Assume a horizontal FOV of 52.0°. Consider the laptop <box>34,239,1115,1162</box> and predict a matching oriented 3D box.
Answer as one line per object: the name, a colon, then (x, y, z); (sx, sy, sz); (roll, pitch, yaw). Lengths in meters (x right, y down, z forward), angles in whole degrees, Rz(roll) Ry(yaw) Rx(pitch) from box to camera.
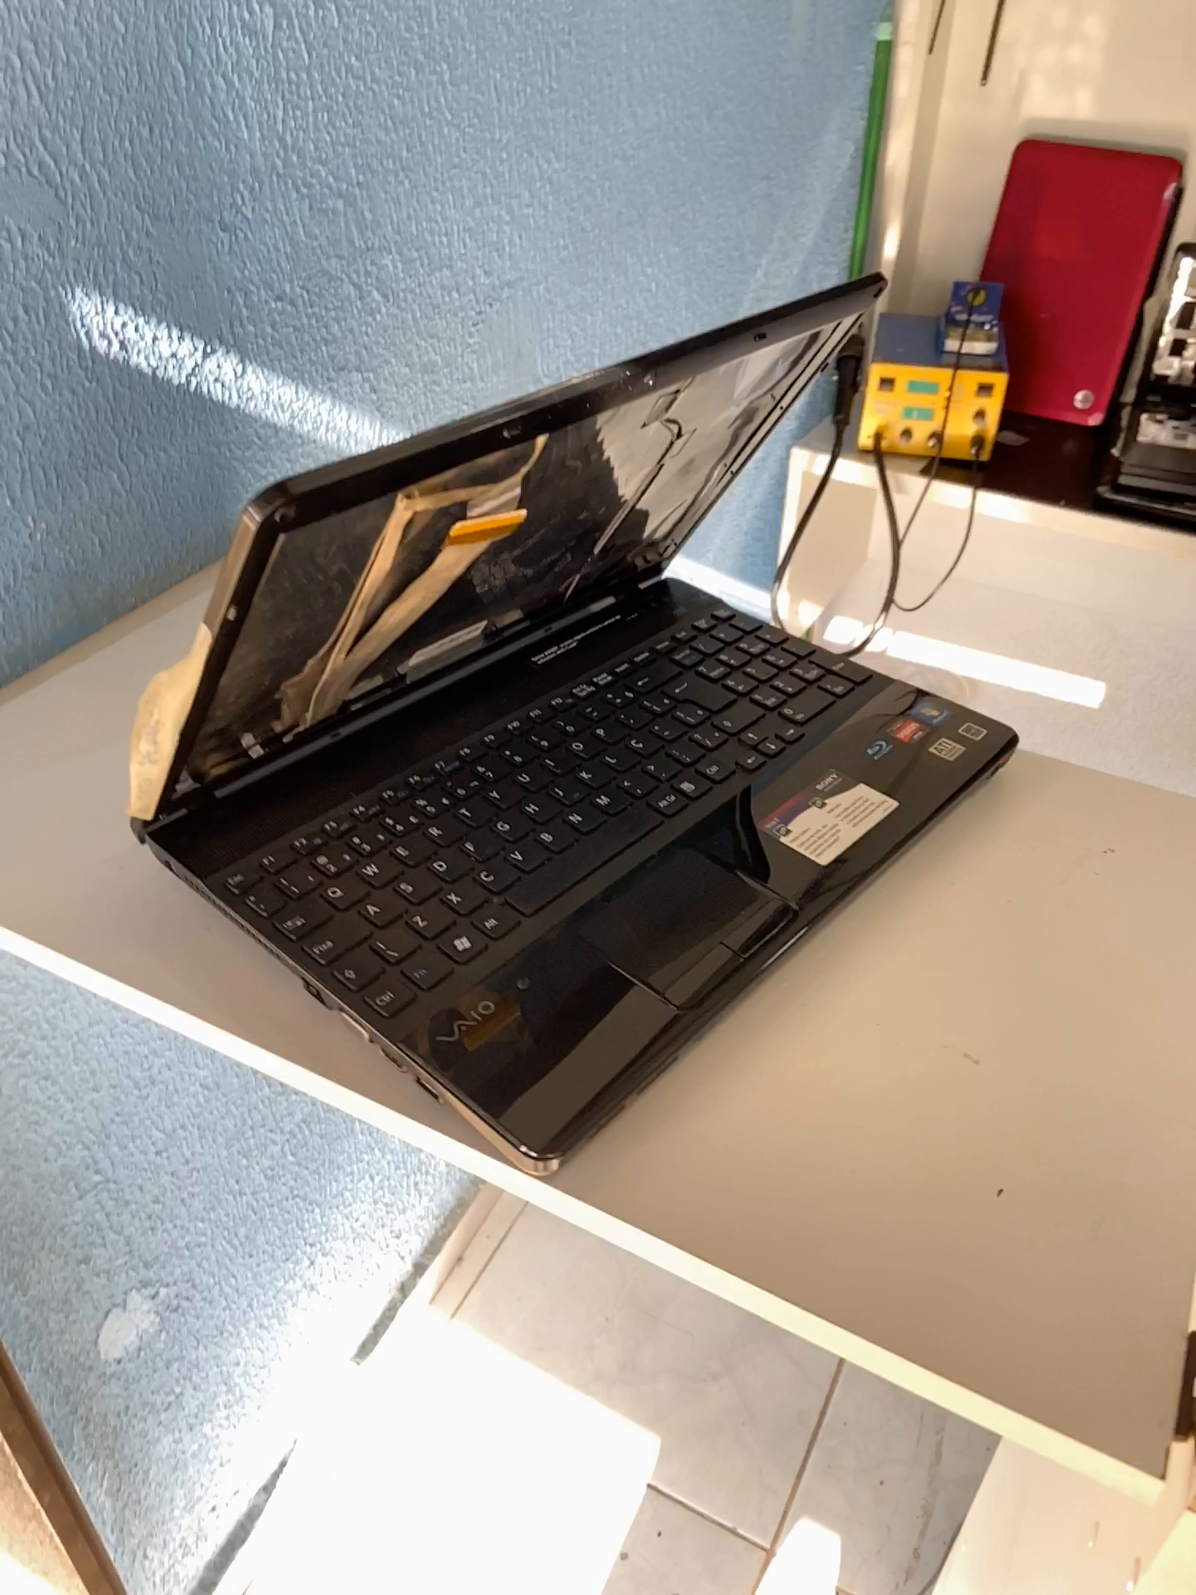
laptop: (0.012, -0.086, 0.536); (0.242, 0.193, 0.365); (30, 45, 31)
